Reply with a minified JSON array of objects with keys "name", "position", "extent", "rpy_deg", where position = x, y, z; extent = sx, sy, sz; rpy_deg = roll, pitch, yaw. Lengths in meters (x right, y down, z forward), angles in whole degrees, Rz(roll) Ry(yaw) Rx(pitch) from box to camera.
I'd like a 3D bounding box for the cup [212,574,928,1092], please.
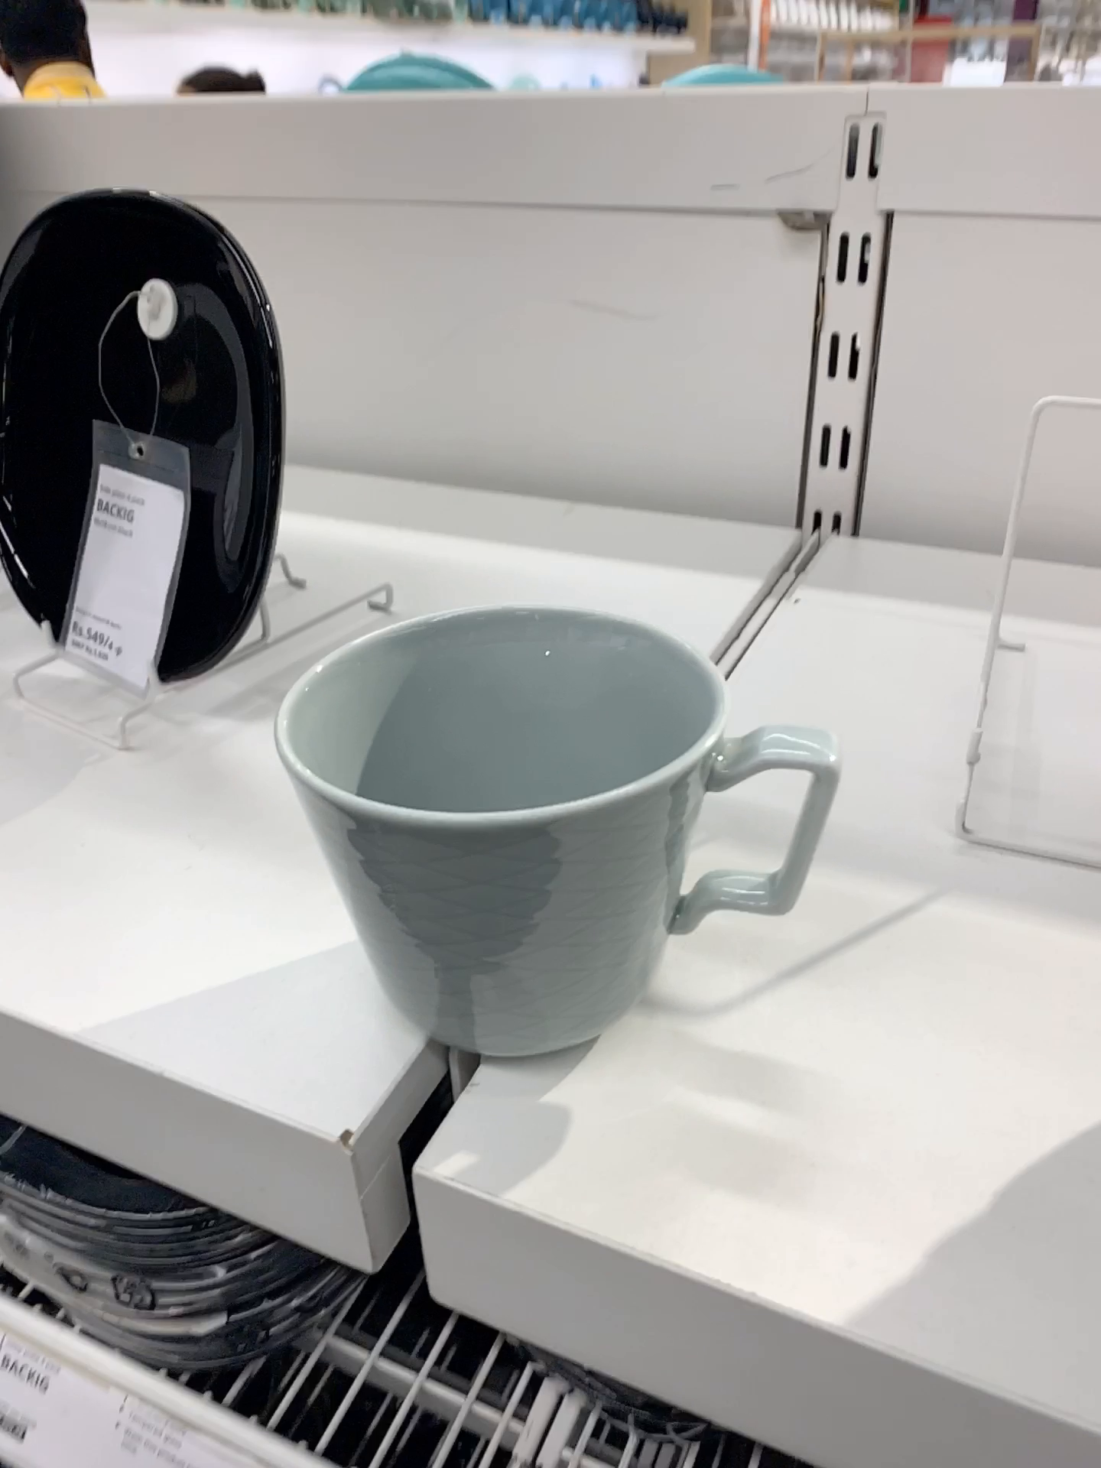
[{"name":"cup","position":[0.002,0.017,0.265],"extent":[0.130,0.070,0.100],"rpy_deg":[-3,30,-3]}]
